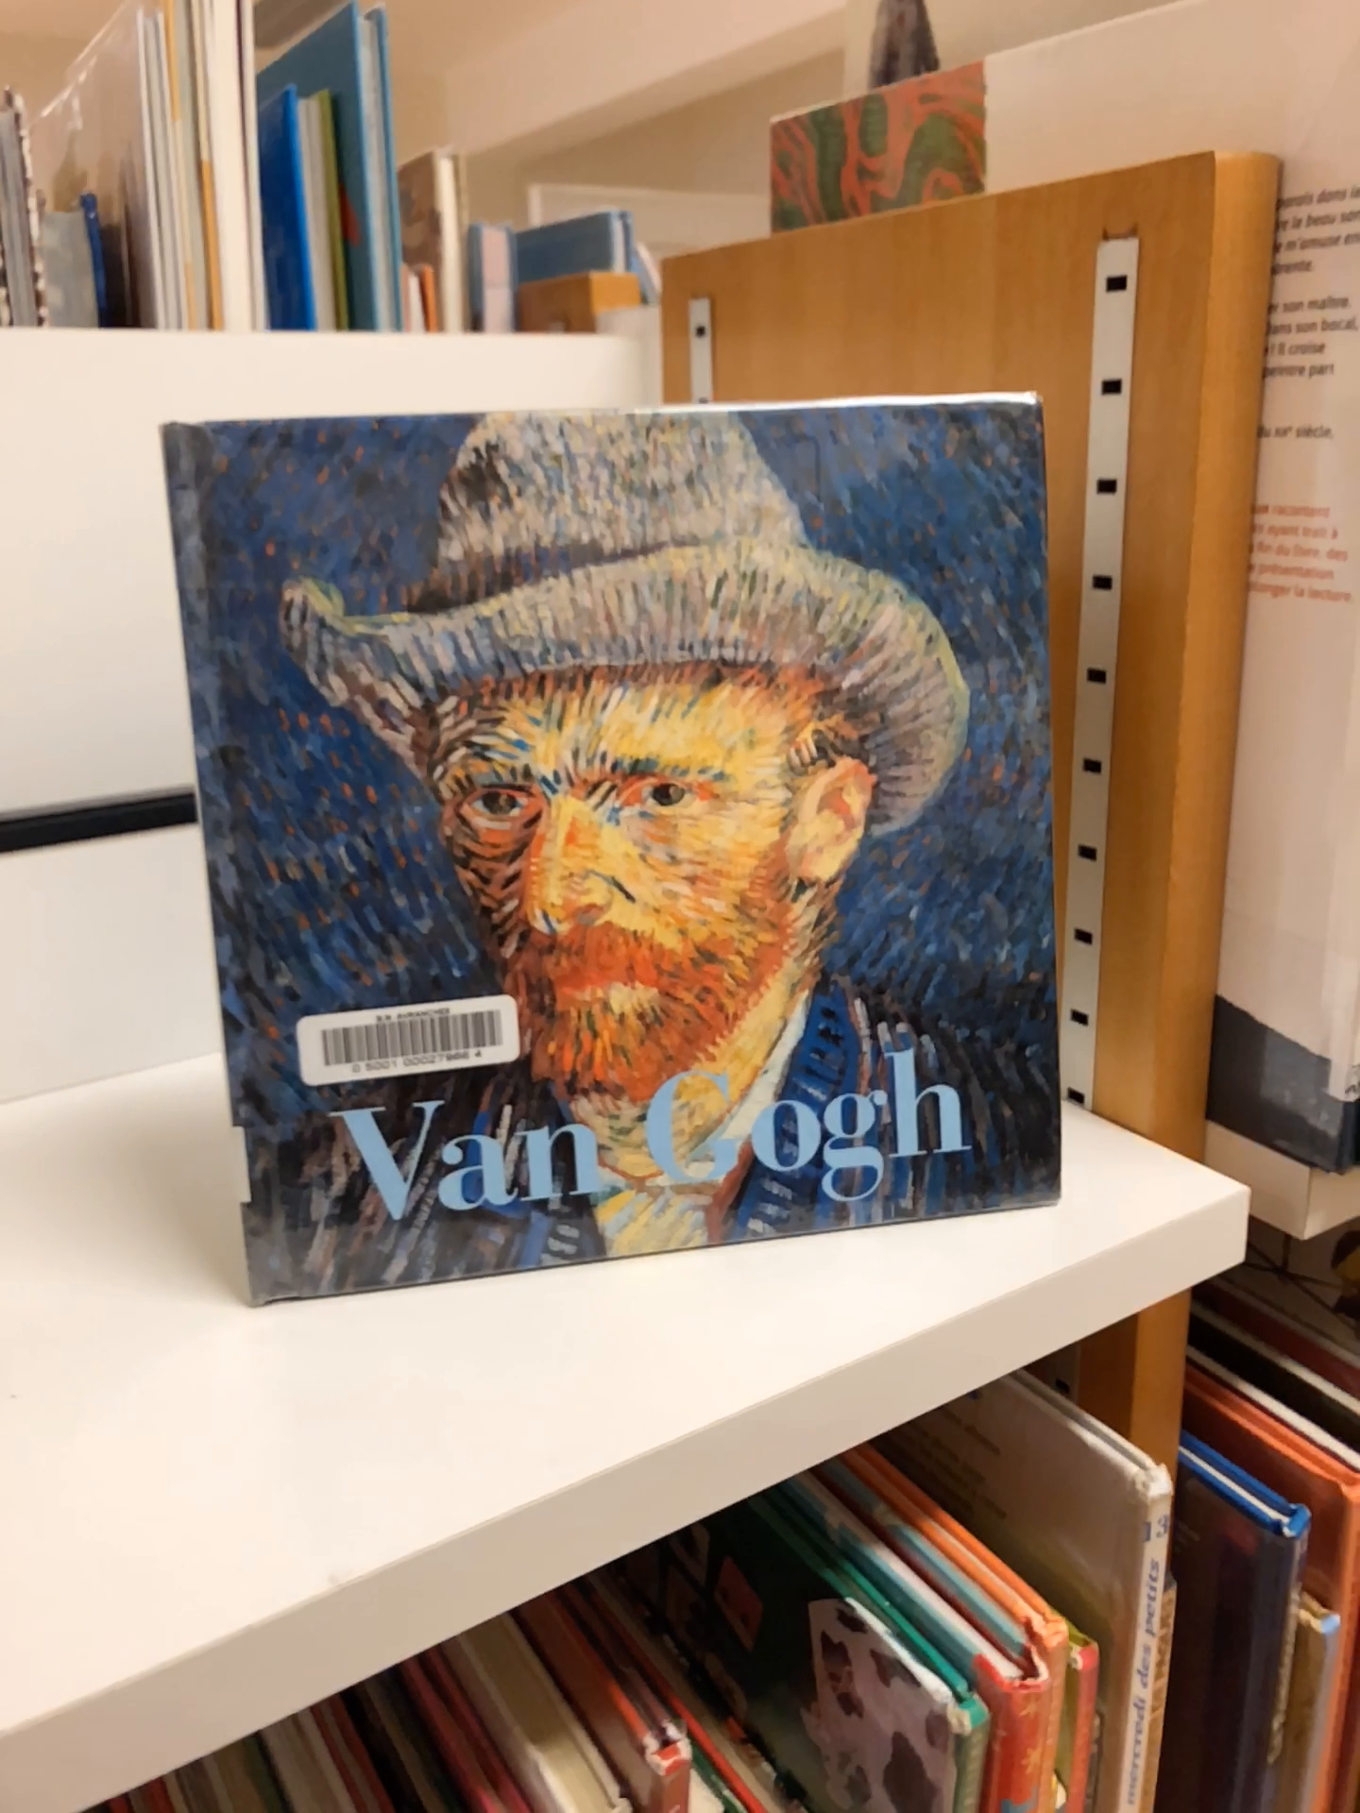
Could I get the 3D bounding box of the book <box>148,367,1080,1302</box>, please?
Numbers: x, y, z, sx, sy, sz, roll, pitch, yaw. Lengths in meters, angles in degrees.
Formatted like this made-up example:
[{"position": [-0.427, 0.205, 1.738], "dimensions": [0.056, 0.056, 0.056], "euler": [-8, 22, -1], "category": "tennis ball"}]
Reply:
[{"position": [-0.007, -0.018, 0.350], "dimensions": [0.200, 0.198, 0.013], "euler": [-5, 7, -9], "category": "book"}]
